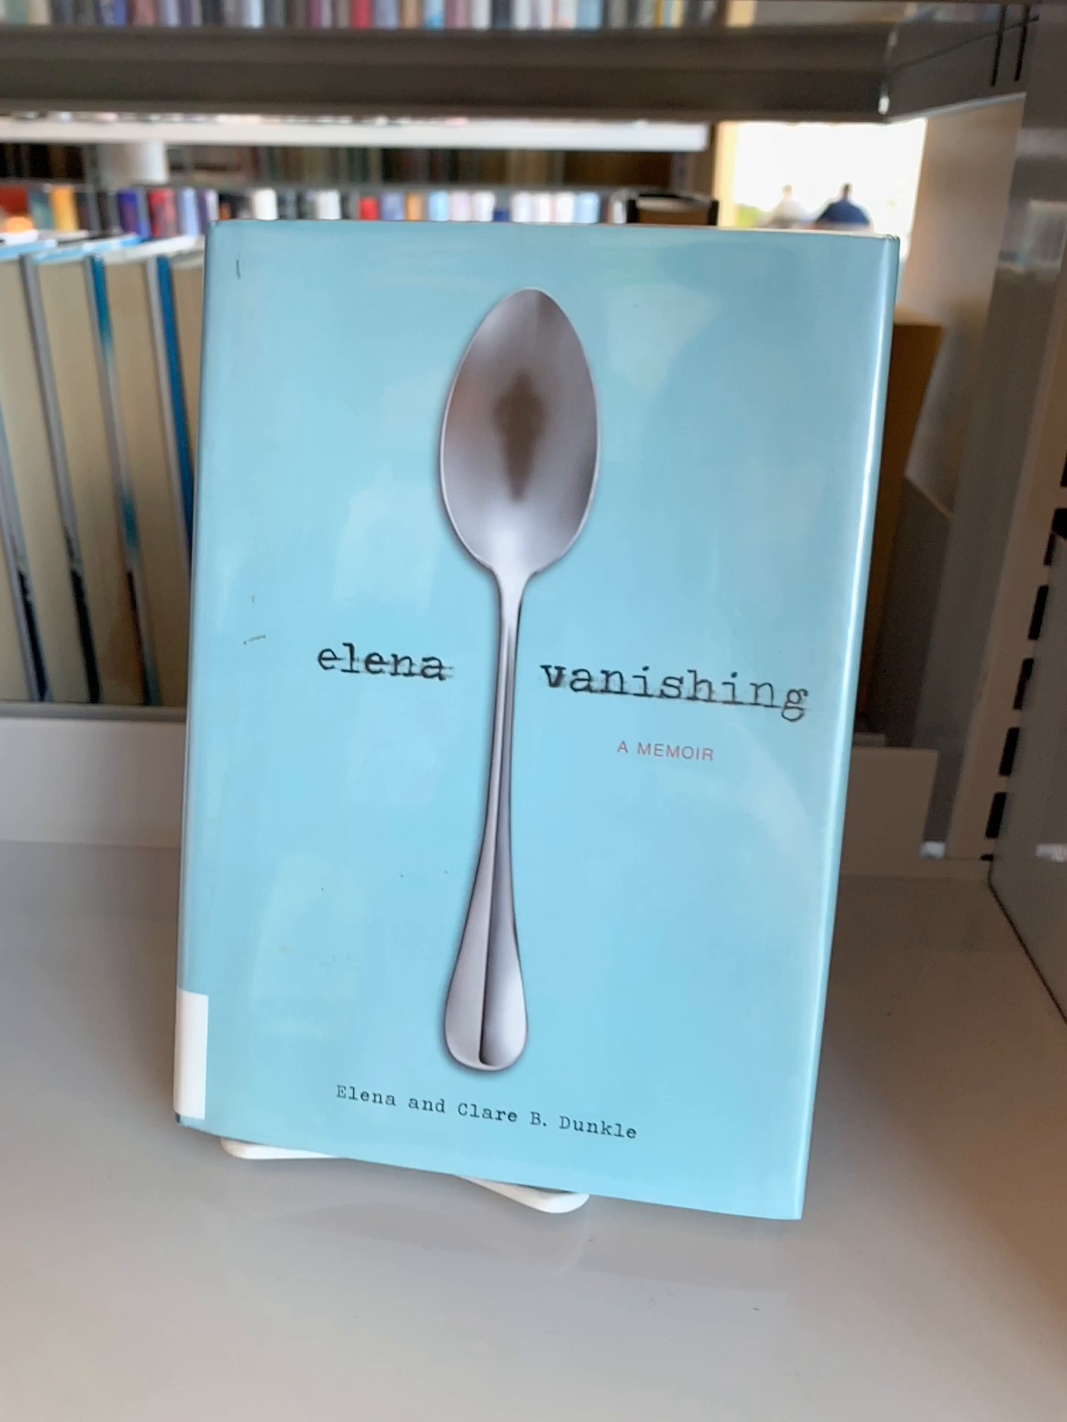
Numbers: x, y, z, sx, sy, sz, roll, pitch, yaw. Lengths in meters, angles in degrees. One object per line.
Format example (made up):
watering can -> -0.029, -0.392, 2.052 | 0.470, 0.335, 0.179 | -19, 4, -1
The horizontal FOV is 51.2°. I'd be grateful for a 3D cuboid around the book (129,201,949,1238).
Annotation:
book -> -0.005, 0.000, 0.247 | 0.159, 0.204, 0.035 | 5, 8, 8
